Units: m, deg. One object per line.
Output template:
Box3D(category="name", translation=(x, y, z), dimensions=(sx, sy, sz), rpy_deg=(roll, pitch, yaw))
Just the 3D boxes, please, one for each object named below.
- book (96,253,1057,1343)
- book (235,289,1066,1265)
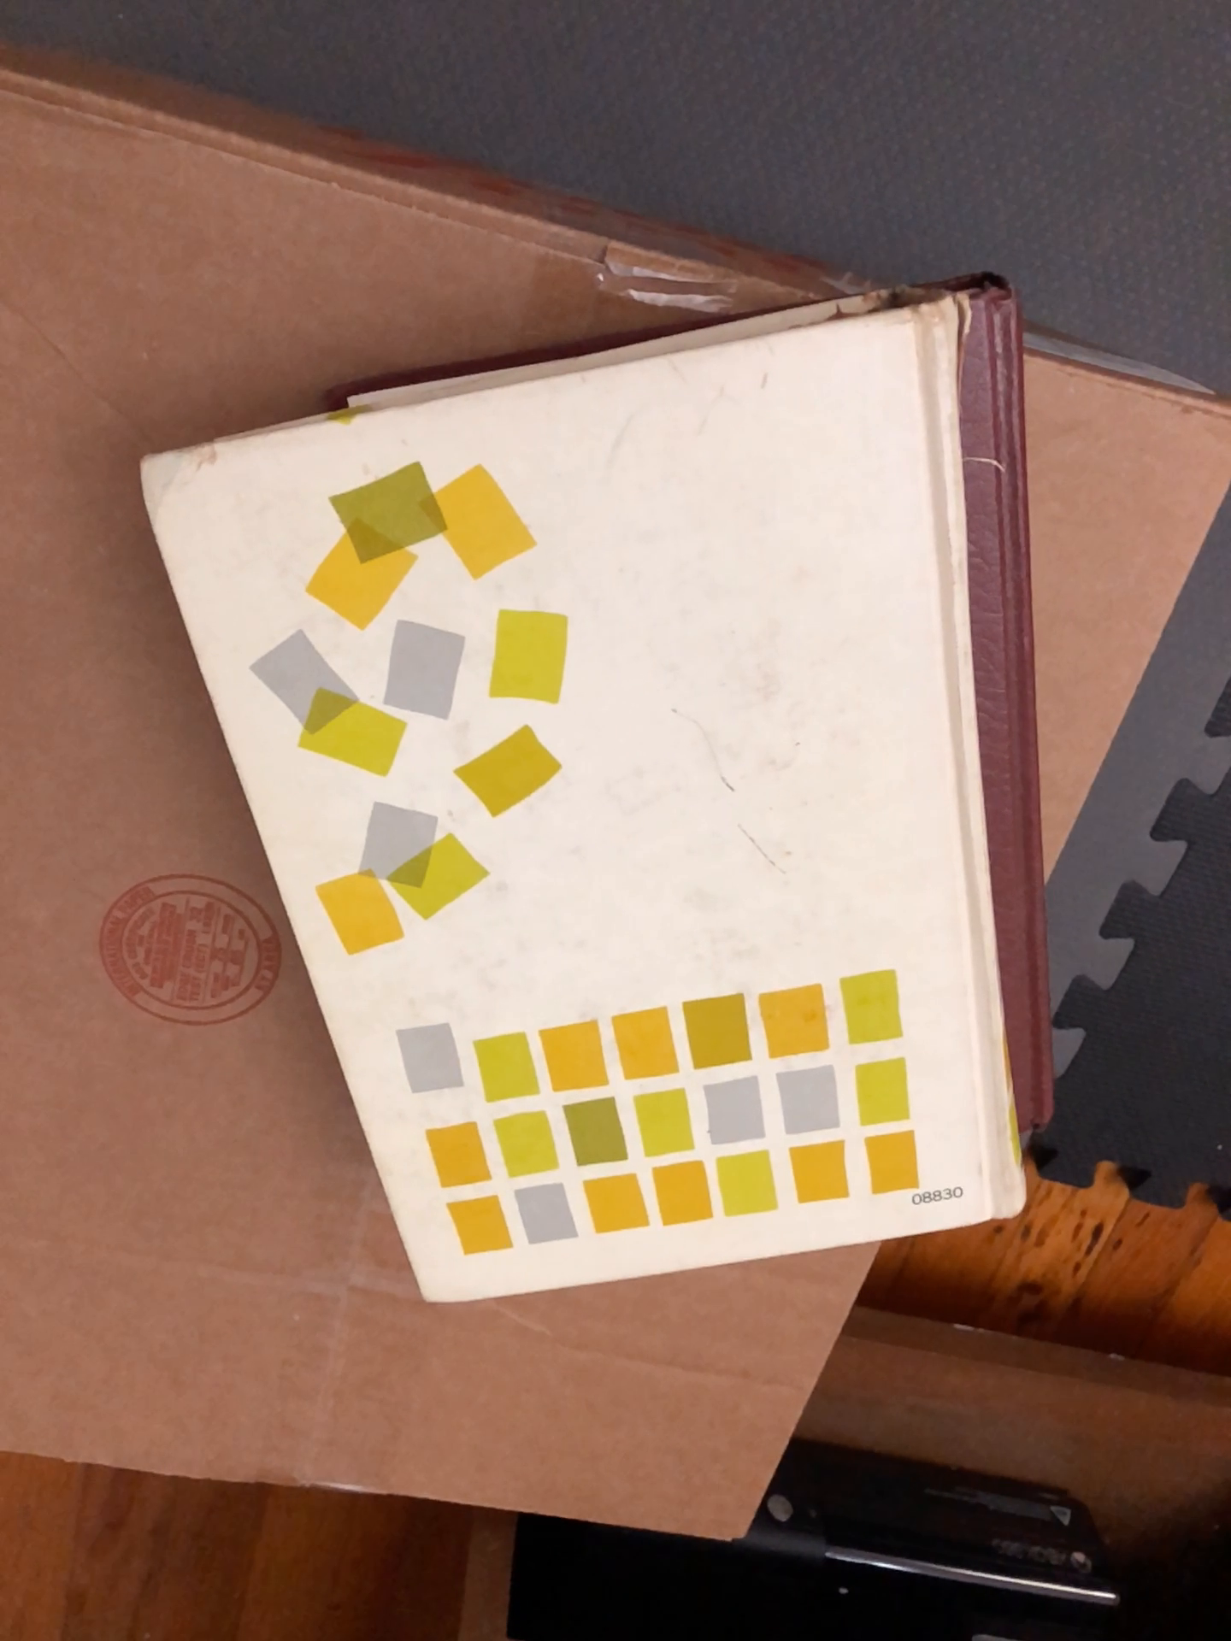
Box3D(category="book", translation=(0.009, 0.012, 0.337), dimensions=(0.180, 0.040, 0.250), rpy_deg=(-10, 118, 2))
Box3D(category="book", translation=(0.022, 0.004, 0.369), dimensions=(0.180, 0.040, 0.250), rpy_deg=(-8, 118, 1))
